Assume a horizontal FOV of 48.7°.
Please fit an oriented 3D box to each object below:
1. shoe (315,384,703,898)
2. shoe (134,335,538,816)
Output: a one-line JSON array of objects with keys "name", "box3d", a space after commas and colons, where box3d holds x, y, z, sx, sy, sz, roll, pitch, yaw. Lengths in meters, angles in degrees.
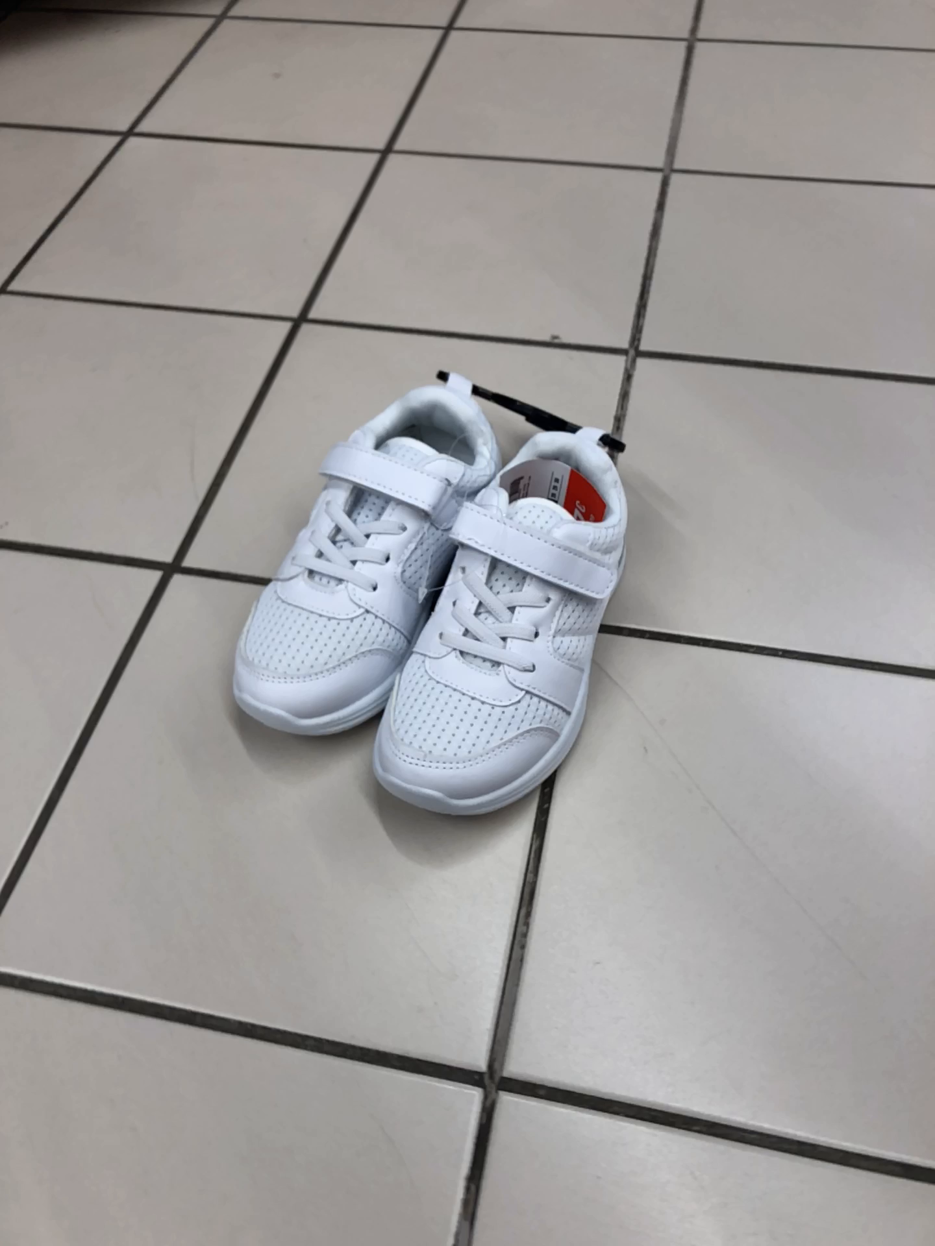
[{"name": "shoe", "box3d": [0.027, -0.001, 0.443, 0.080, 0.080, 0.201, 19, 55, 17]}, {"name": "shoe", "box3d": [-0.045, -0.030, 0.464, 0.080, 0.080, 0.201, 19, 55, 17]}]
